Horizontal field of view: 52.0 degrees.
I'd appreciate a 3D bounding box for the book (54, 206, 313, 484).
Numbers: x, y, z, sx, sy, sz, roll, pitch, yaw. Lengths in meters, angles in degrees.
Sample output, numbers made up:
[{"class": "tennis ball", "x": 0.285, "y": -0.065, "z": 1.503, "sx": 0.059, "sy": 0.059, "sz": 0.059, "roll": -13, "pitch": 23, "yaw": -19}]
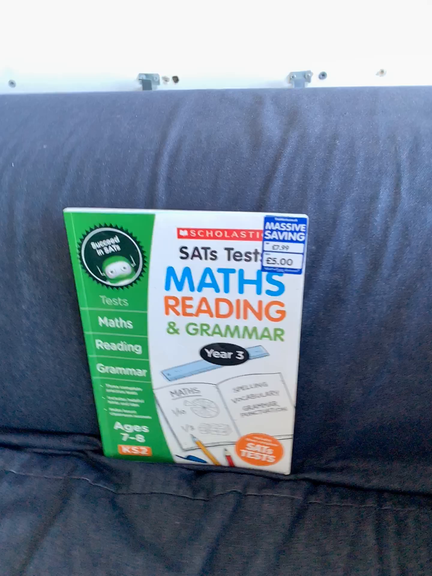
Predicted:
[{"class": "book", "x": -0.024, "y": 0.069, "z": 0.426, "sx": 0.209, "sy": 0.293, "sz": 0.022, "roll": 2, "pitch": 28, "yaw": 8}]
